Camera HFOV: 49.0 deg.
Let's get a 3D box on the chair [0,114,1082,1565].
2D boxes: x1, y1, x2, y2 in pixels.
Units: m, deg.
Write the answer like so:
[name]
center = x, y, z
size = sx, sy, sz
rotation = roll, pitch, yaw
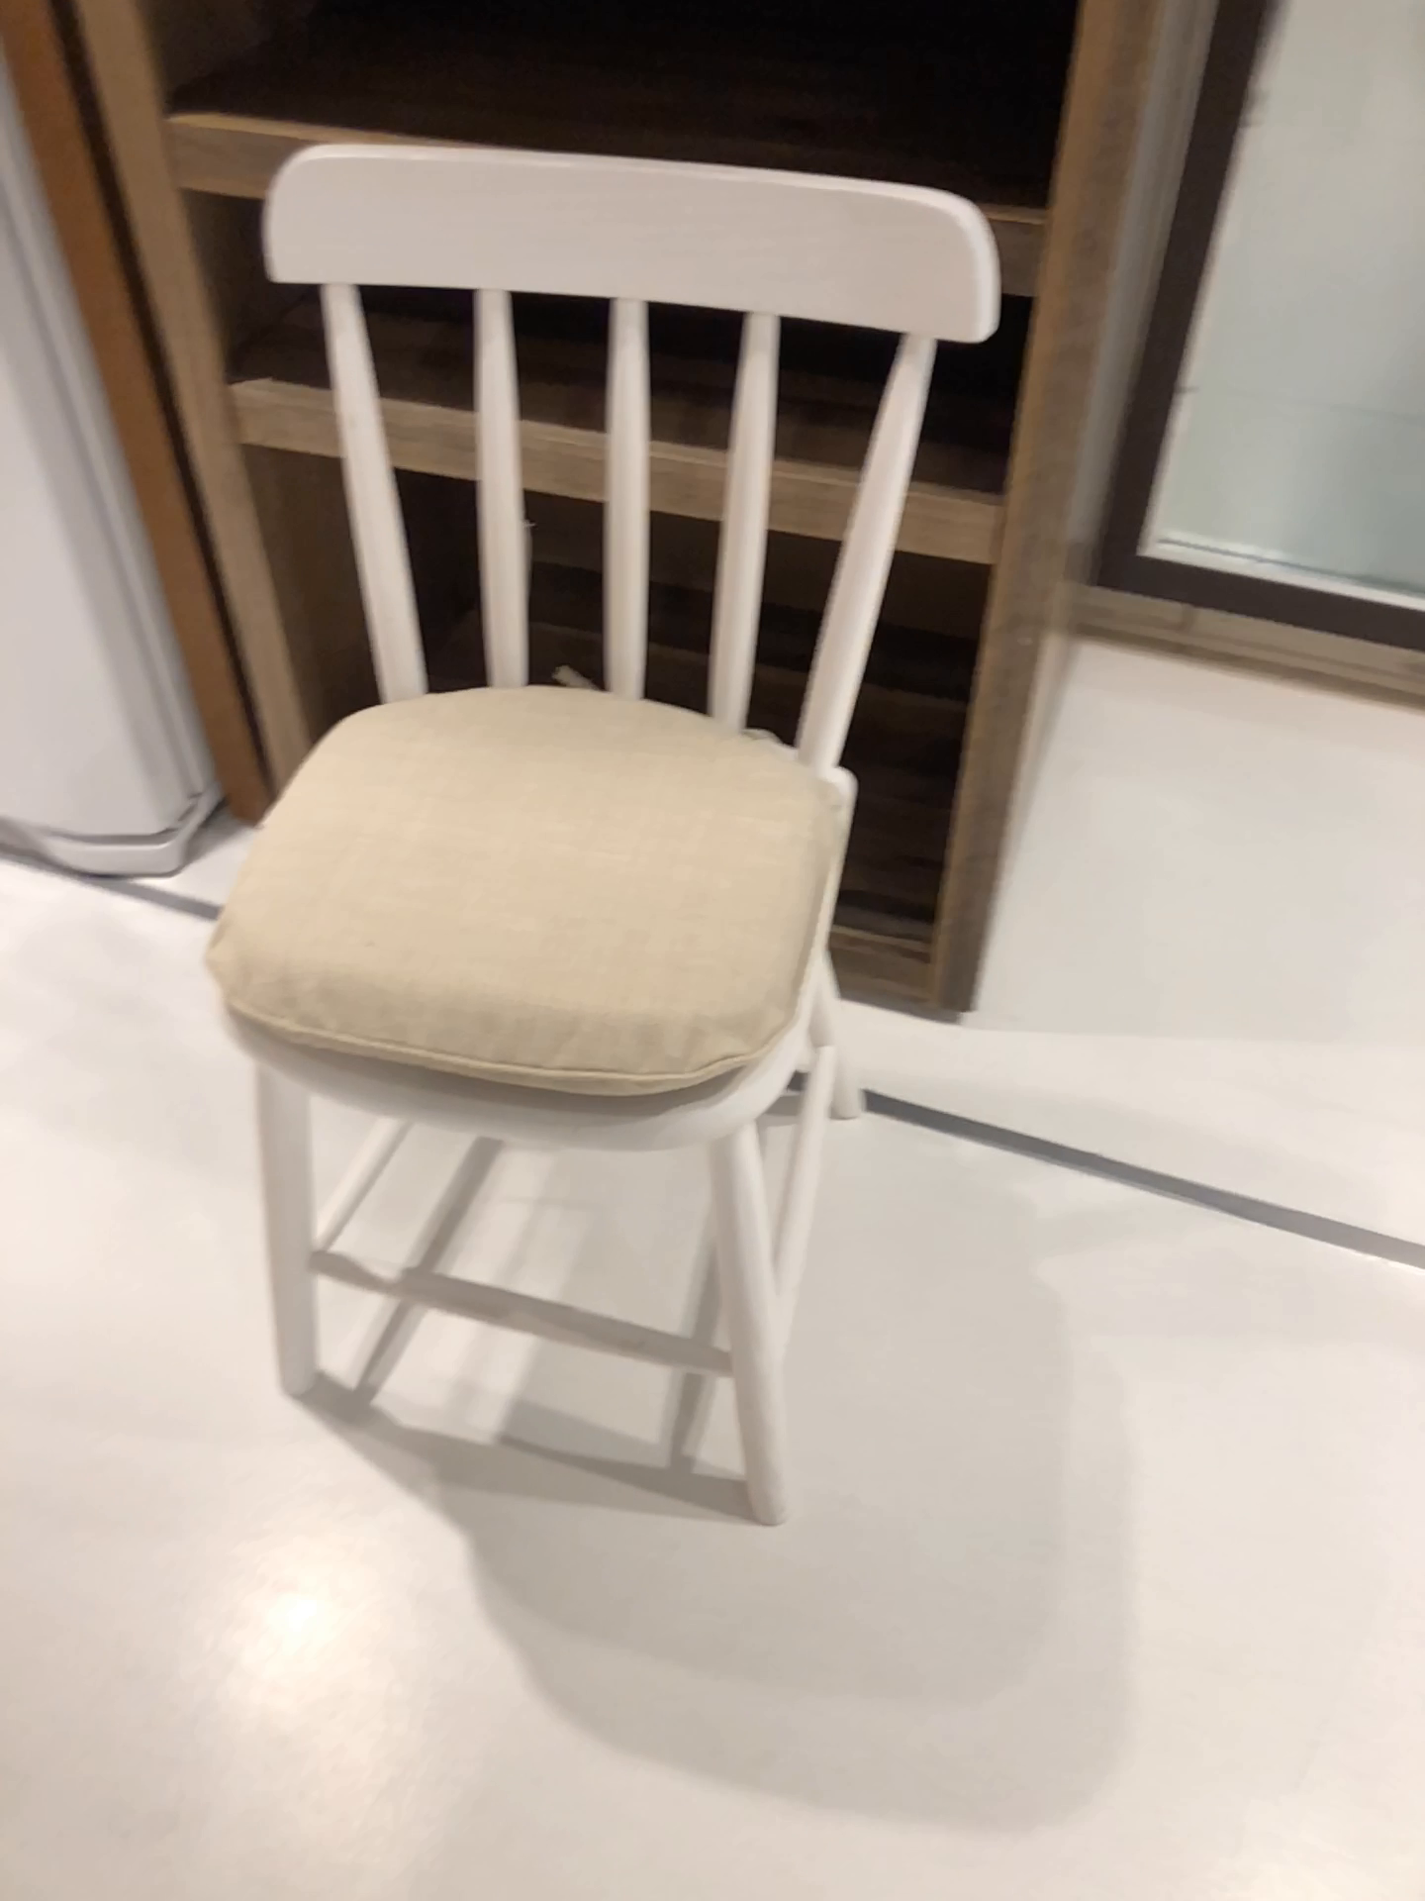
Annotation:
[chair]
center = -0.077, -0.046, 1.008
size = 0.450, 0.725, 0.483
rotation = 11, 47, 10
